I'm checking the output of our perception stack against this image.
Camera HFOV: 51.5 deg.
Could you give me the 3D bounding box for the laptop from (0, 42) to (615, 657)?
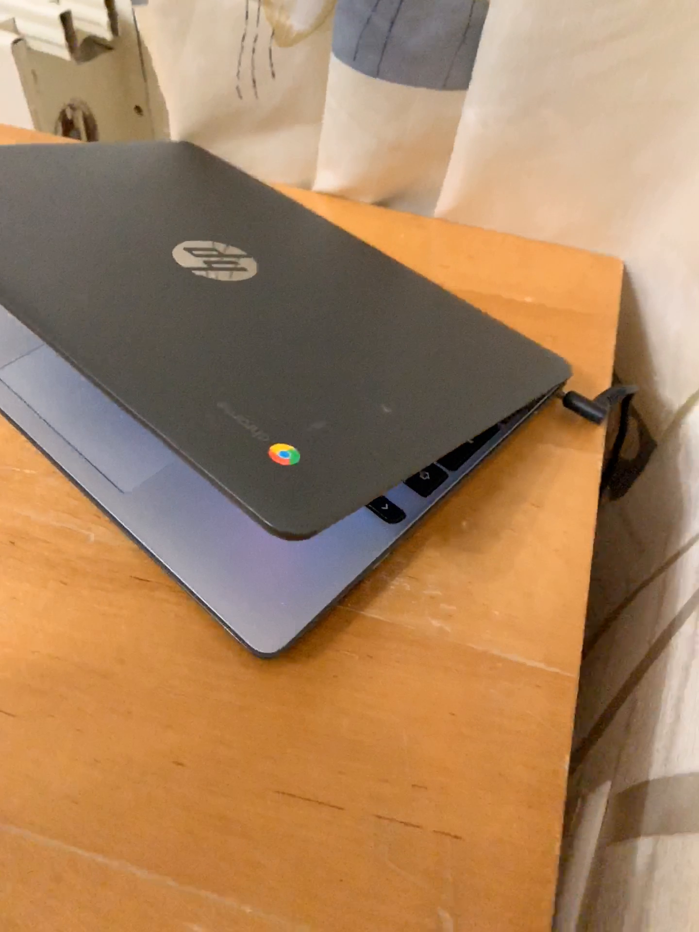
[{"bbox_3d":[-0.058,-0.083,0.321,0.268,0.066,0.191,37,58,23],"label":"laptop"}]
